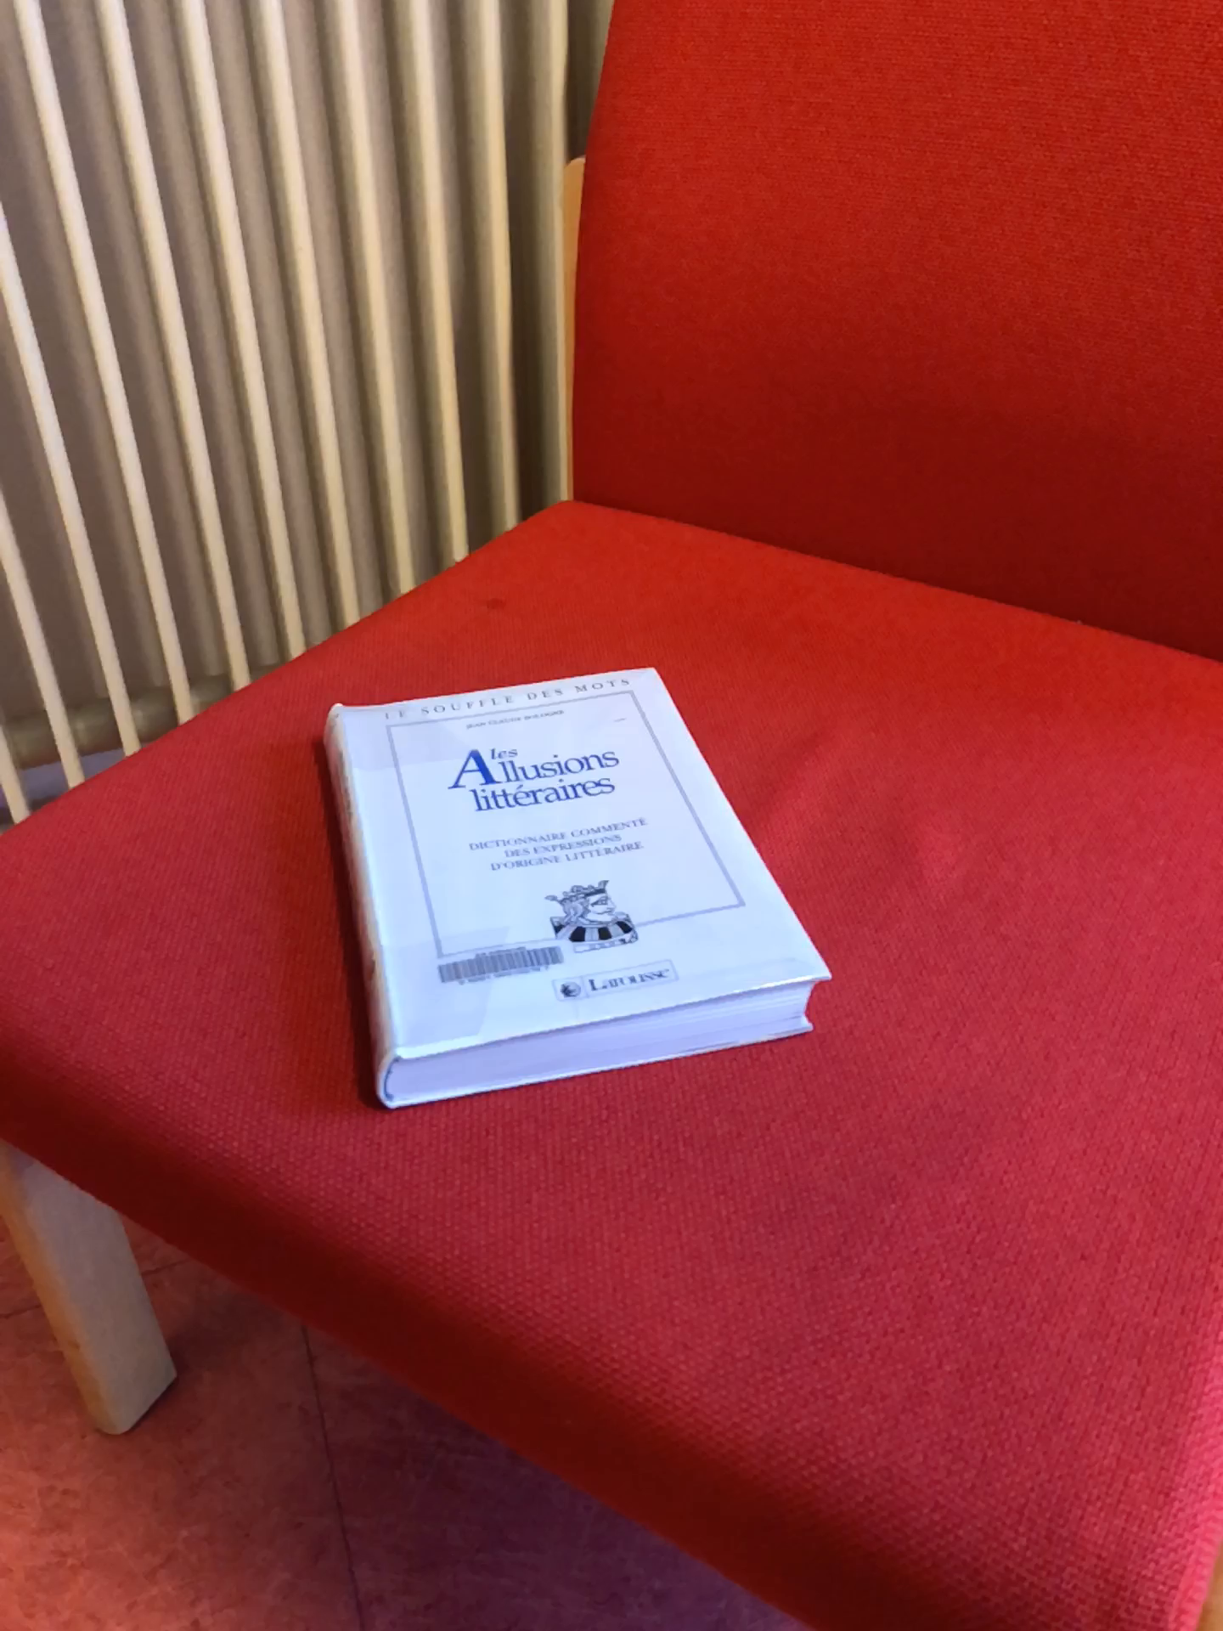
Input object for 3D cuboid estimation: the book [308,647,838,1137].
[{"bbox_3d":[-0.028,0.012,0.507,0.150,0.030,0.218,-9,38,-12],"label":"book"}]
